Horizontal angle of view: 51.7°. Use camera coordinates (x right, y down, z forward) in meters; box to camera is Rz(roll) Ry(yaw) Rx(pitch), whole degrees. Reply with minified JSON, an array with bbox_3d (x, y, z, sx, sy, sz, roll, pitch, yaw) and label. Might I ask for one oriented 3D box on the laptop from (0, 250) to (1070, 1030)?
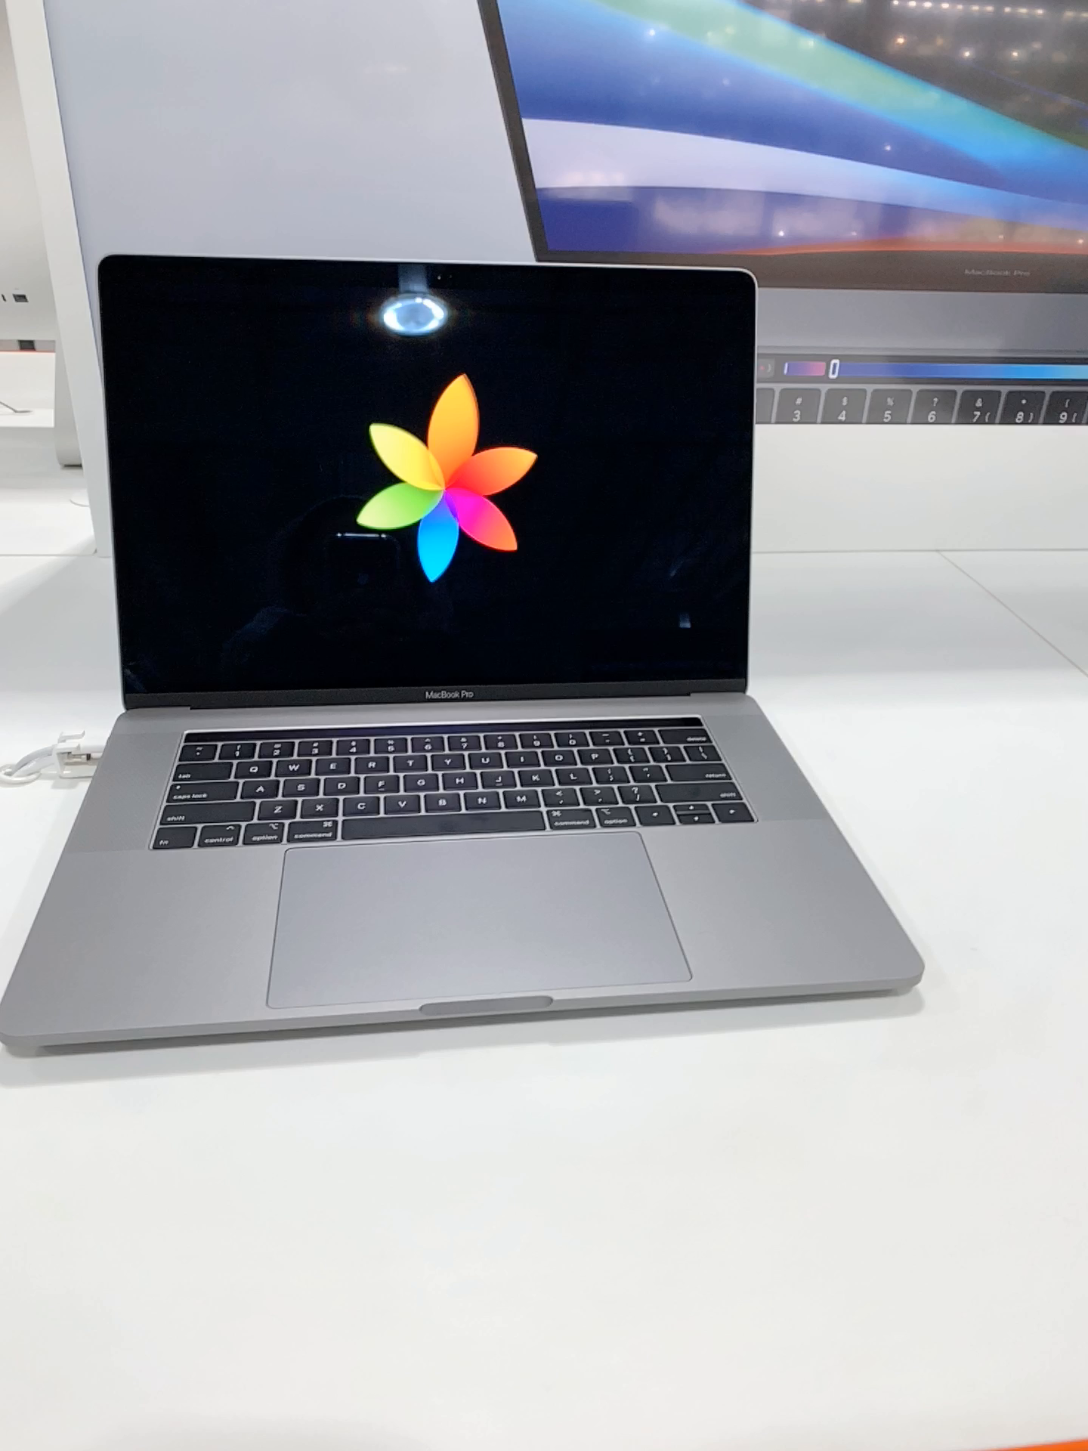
[{"bbox_3d":[-0.037,-0.067,0.476,0.330,0.205,0.304,-1,29,-9],"label":"laptop"}]
